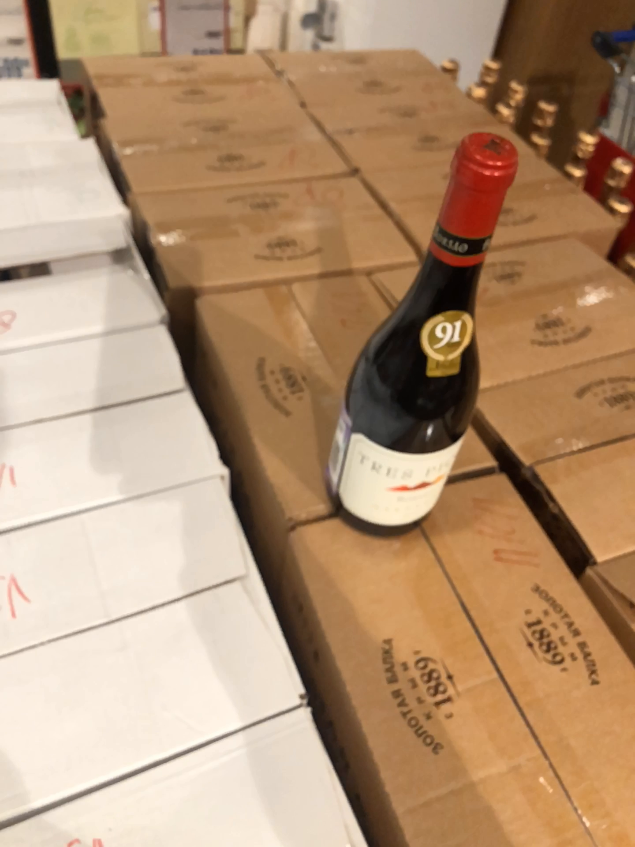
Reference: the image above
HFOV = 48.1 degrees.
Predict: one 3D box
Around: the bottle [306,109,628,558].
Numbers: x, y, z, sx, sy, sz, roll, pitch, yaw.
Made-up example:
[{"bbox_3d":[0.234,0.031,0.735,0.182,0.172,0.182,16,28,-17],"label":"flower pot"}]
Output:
[{"bbox_3d":[0.068,-0.041,0.447,0.100,0.268,0.101,5,46,-5],"label":"bottle"}]
